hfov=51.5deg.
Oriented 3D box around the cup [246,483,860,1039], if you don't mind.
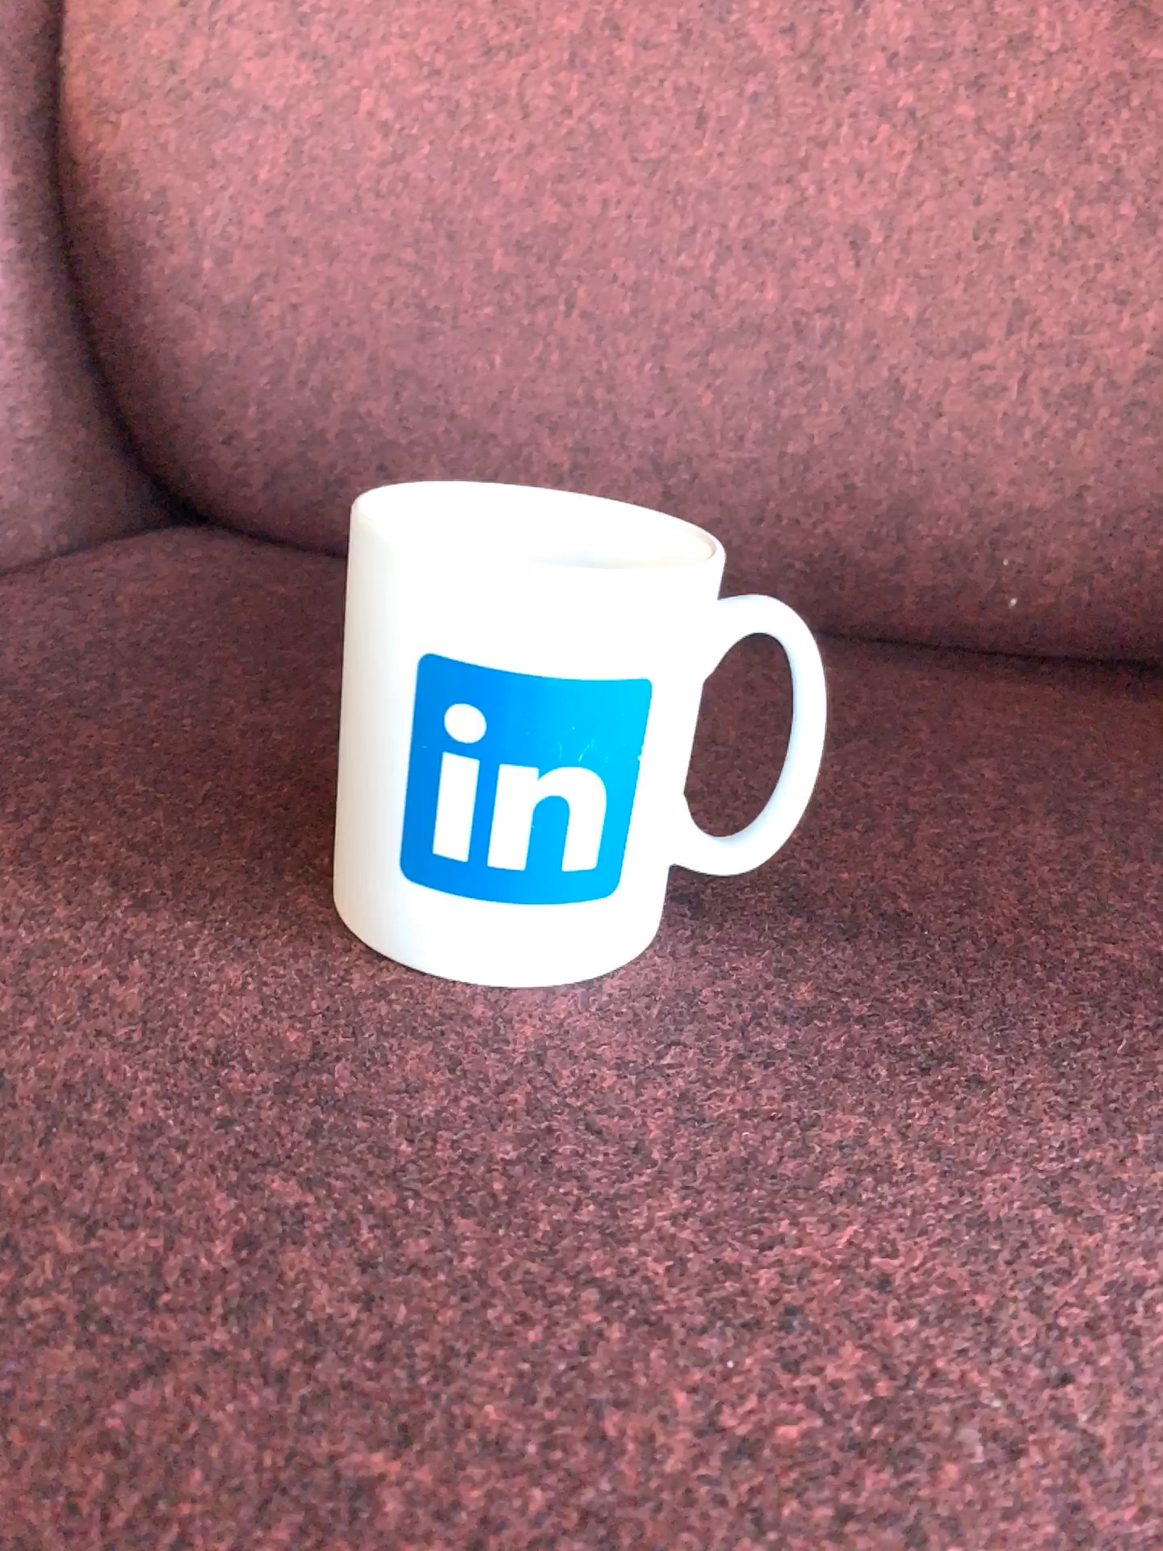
[{"bbox_3d":[-0.008,-0.007,0.256,0.104,0.089,0.075,4,23,-2],"label":"cup"}]
